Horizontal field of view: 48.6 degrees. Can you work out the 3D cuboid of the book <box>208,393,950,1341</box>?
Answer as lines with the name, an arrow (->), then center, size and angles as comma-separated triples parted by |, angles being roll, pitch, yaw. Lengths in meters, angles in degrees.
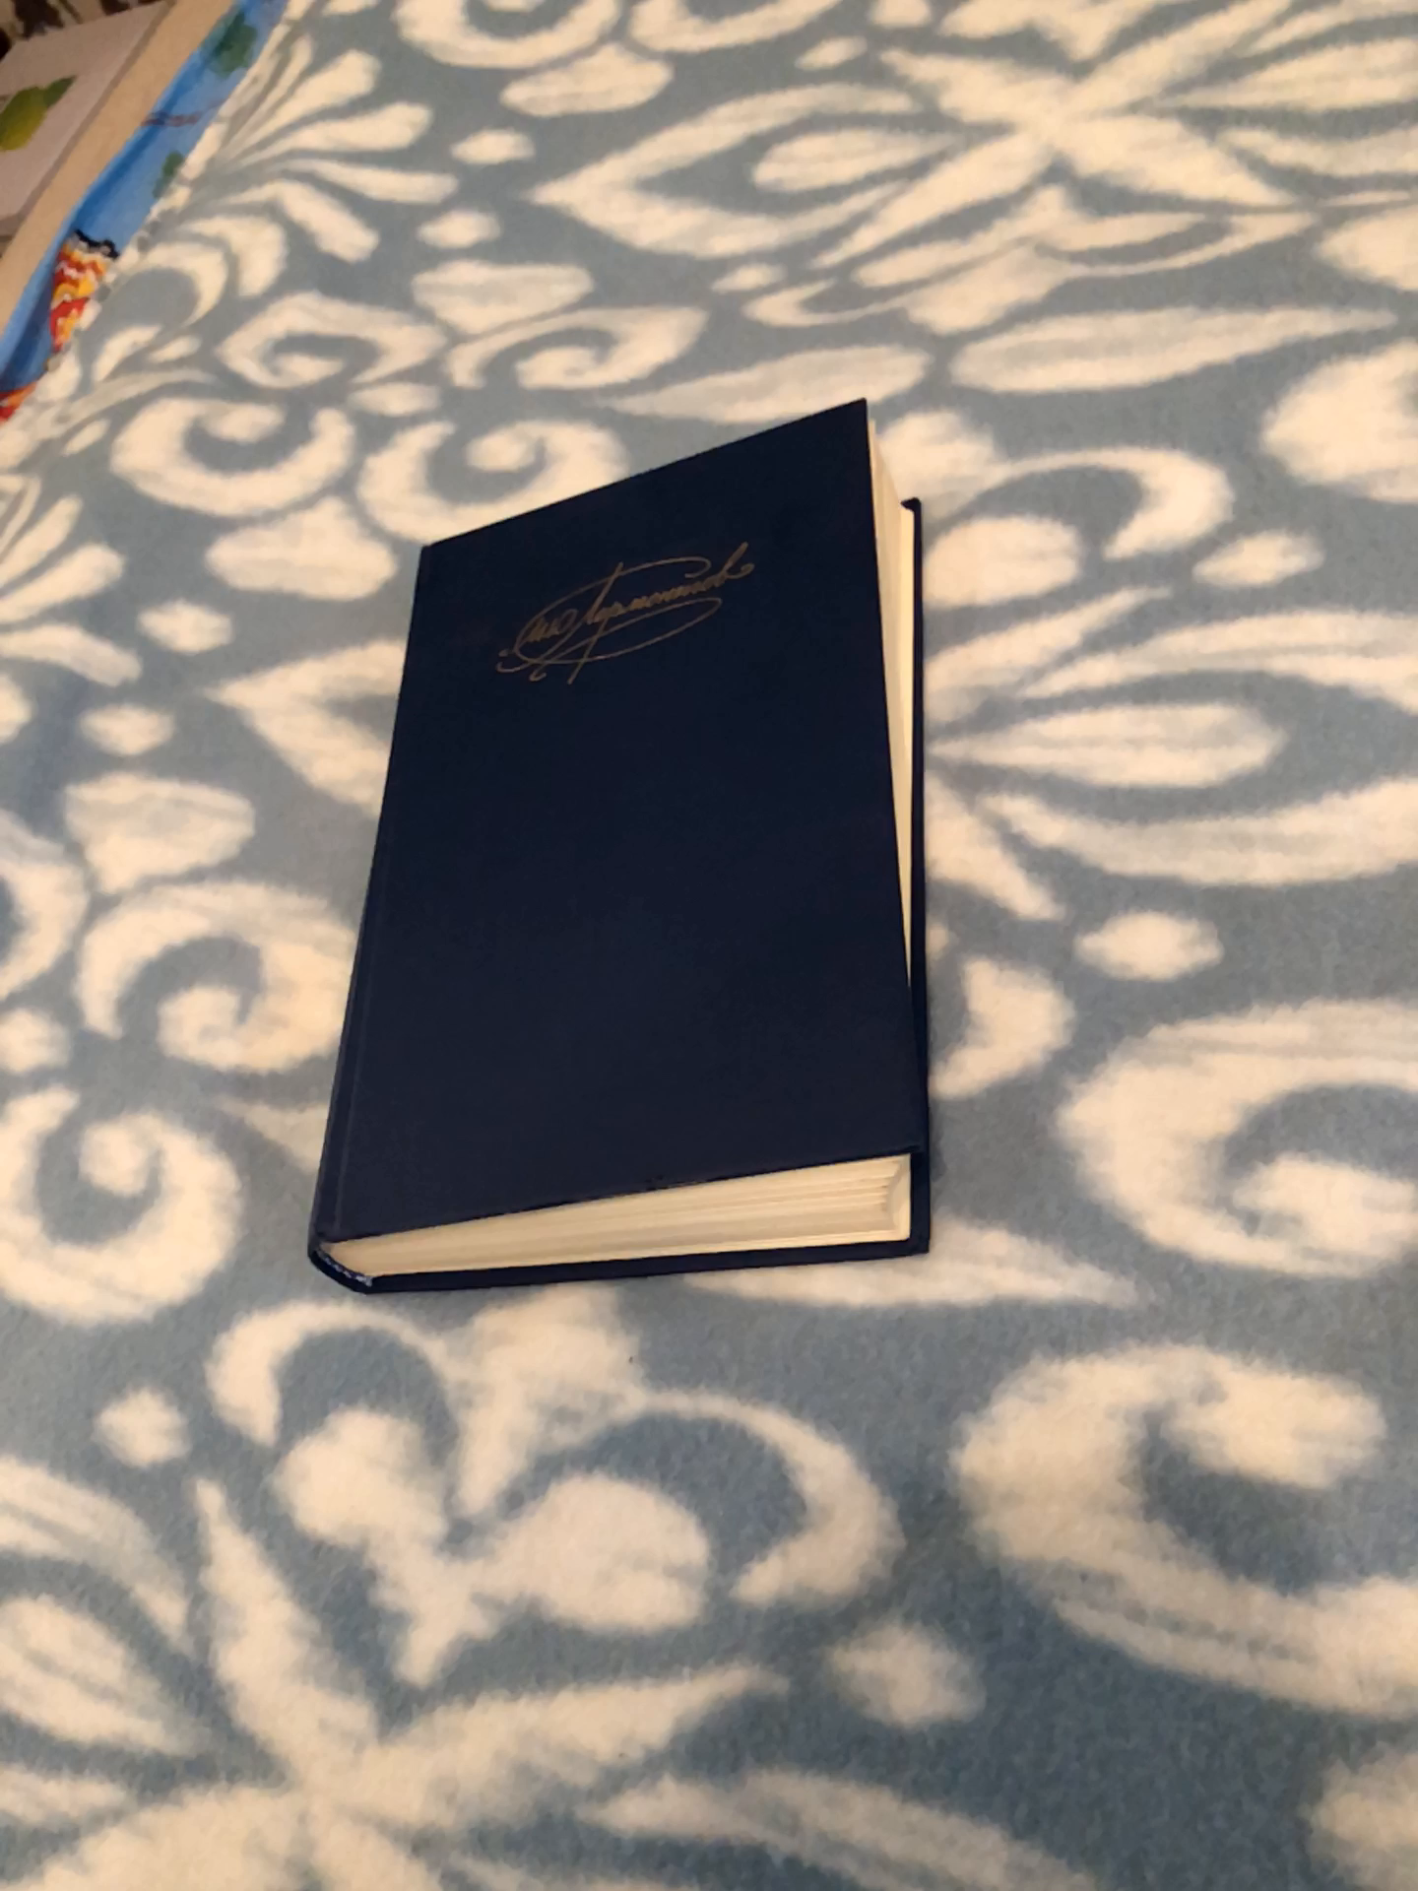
book -> -0.024, -0.022, 0.354 | 0.139, 0.040, 0.201 | -12, 54, 20
